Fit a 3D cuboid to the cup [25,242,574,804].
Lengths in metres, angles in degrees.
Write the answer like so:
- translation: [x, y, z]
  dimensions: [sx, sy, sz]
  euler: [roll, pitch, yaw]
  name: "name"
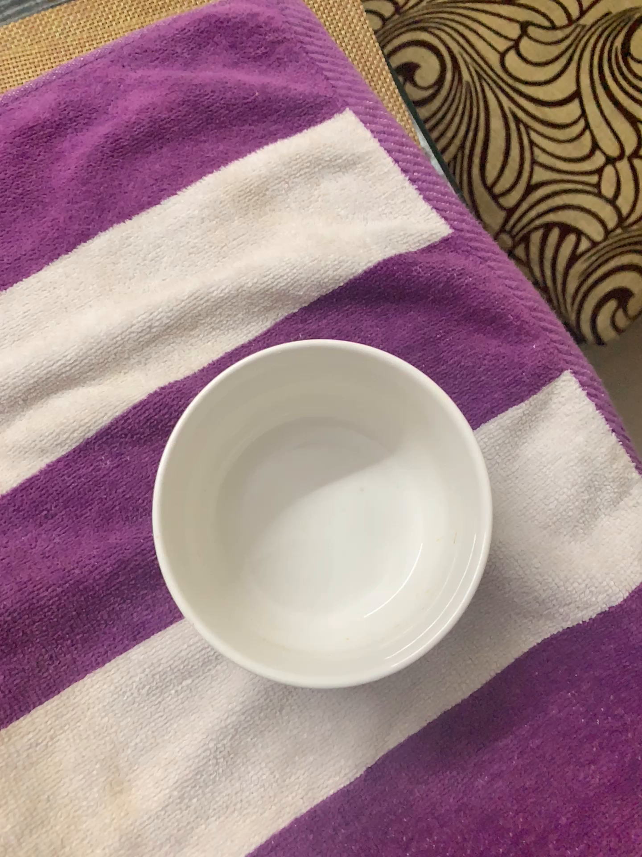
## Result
- translation: [-0.007, 0.023, 0.201]
  dimensions: [0.100, 0.050, 0.110]
  euler: [-35, 79, -9]
  name: "cup"
